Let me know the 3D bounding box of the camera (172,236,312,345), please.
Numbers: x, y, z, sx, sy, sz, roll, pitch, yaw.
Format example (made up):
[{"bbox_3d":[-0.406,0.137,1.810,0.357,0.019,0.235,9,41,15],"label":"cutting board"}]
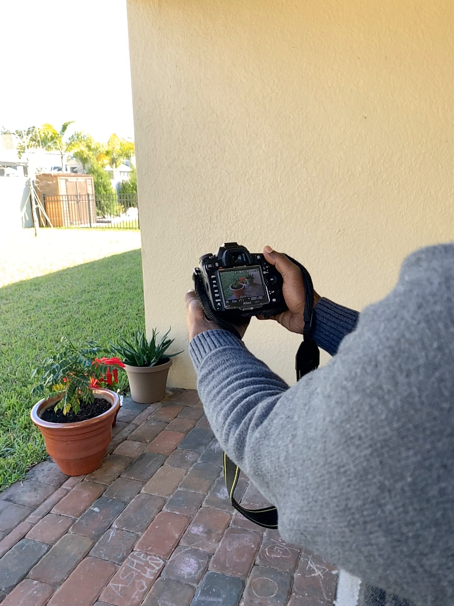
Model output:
[{"bbox_3d":[0.011,-0.012,0.708,0.130,0.101,0.199,-7,-13,-23],"label":"camera"}]
